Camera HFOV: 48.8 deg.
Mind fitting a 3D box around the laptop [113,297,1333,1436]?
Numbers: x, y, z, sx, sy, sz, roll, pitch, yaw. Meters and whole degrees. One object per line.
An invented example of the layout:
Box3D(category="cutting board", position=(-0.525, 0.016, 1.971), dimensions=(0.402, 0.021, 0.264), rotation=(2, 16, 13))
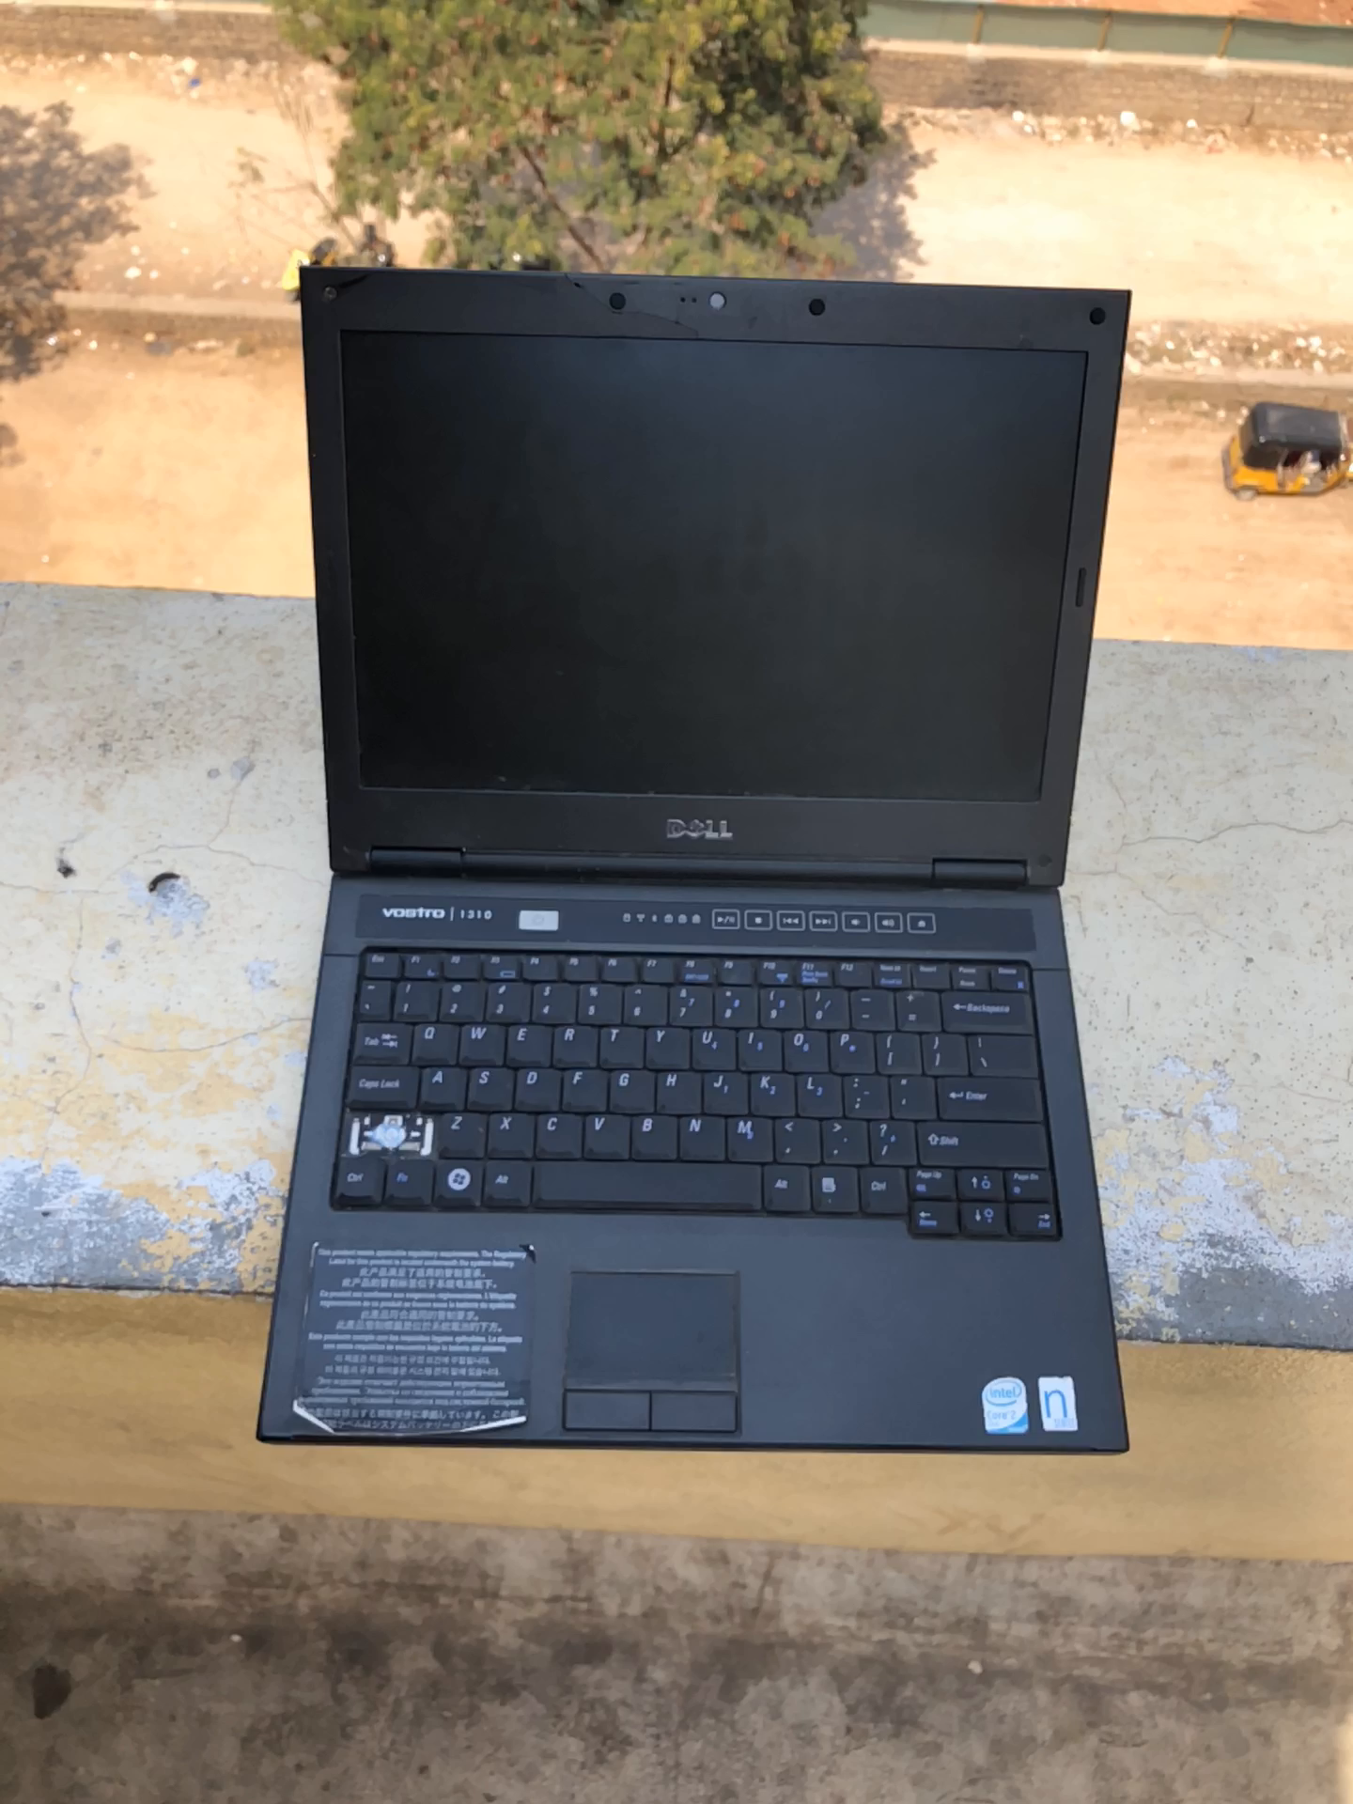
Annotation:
Box3D(category="laptop", position=(0.016, -0.019, 0.540), dimensions=(0.301, 0.178, 0.377), rotation=(1, 60, 1))
